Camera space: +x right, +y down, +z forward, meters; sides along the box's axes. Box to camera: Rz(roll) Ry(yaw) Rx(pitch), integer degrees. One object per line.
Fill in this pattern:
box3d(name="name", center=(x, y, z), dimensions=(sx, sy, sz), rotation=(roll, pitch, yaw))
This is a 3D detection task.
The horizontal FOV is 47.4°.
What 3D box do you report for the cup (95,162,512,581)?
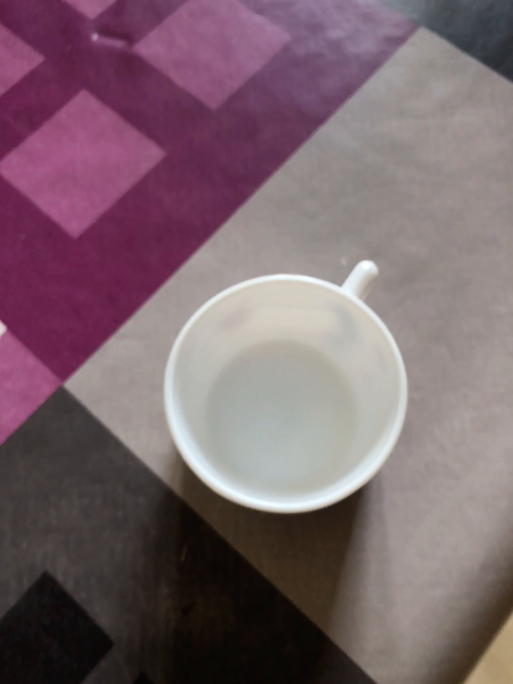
box3d(name="cup", center=(0.017, 0.009, 0.207), dimensions=(0.080, 0.050, 0.110), rotation=(37, 76, 12))
